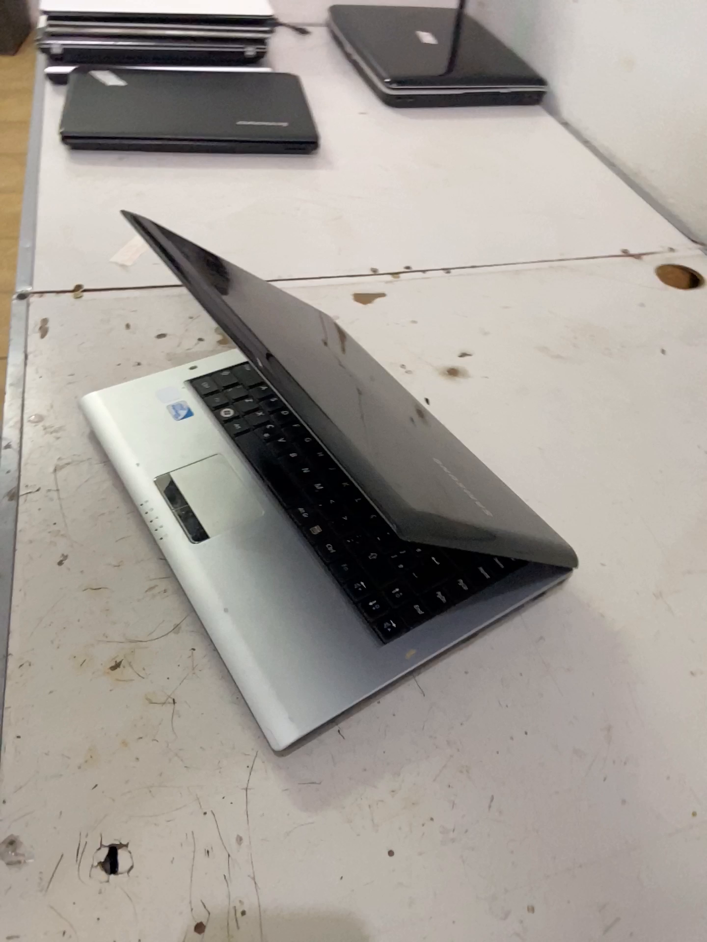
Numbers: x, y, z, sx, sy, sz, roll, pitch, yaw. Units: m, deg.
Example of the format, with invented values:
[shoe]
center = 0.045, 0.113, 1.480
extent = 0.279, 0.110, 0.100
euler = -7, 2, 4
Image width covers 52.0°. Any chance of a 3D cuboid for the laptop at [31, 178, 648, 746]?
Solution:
[laptop]
center = -0.033, -0.042, 0.504
extent = 0.241, 0.152, 0.334
euler = -22, 52, -26
